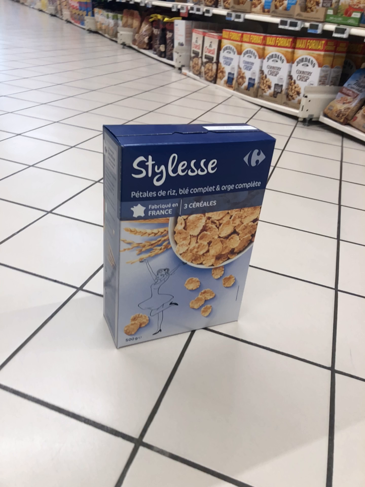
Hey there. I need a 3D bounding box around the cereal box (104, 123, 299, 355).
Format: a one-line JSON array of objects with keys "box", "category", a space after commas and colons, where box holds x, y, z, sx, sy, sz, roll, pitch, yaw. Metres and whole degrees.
[{"box": [0.011, -0.007, 0.530, 0.211, 0.278, 0.080, -9, 34, -25], "category": "cereal box"}]
